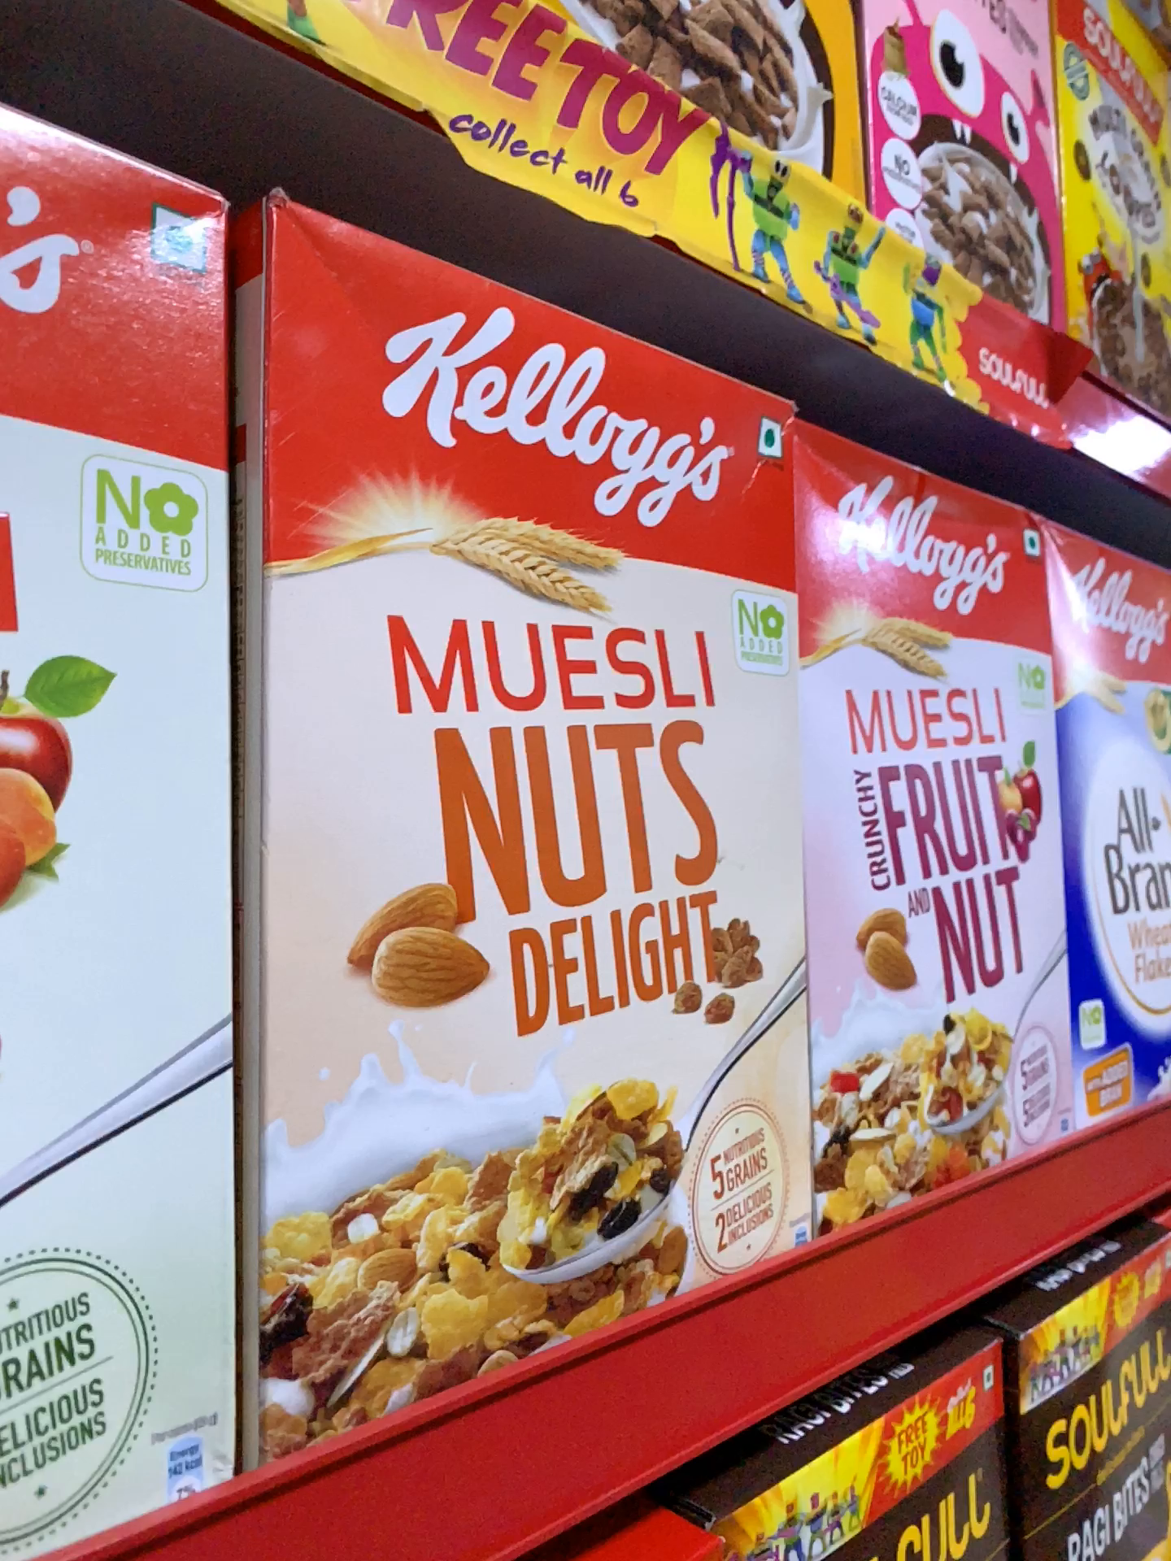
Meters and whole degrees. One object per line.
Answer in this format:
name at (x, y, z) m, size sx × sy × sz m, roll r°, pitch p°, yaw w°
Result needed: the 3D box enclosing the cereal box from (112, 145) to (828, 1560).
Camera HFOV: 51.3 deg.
cereal box at (-0.018, 0.011, 0.298) m, size 0.060 × 0.250 × 0.170 m, roll -6°, pitch -7°, yaw 43°
